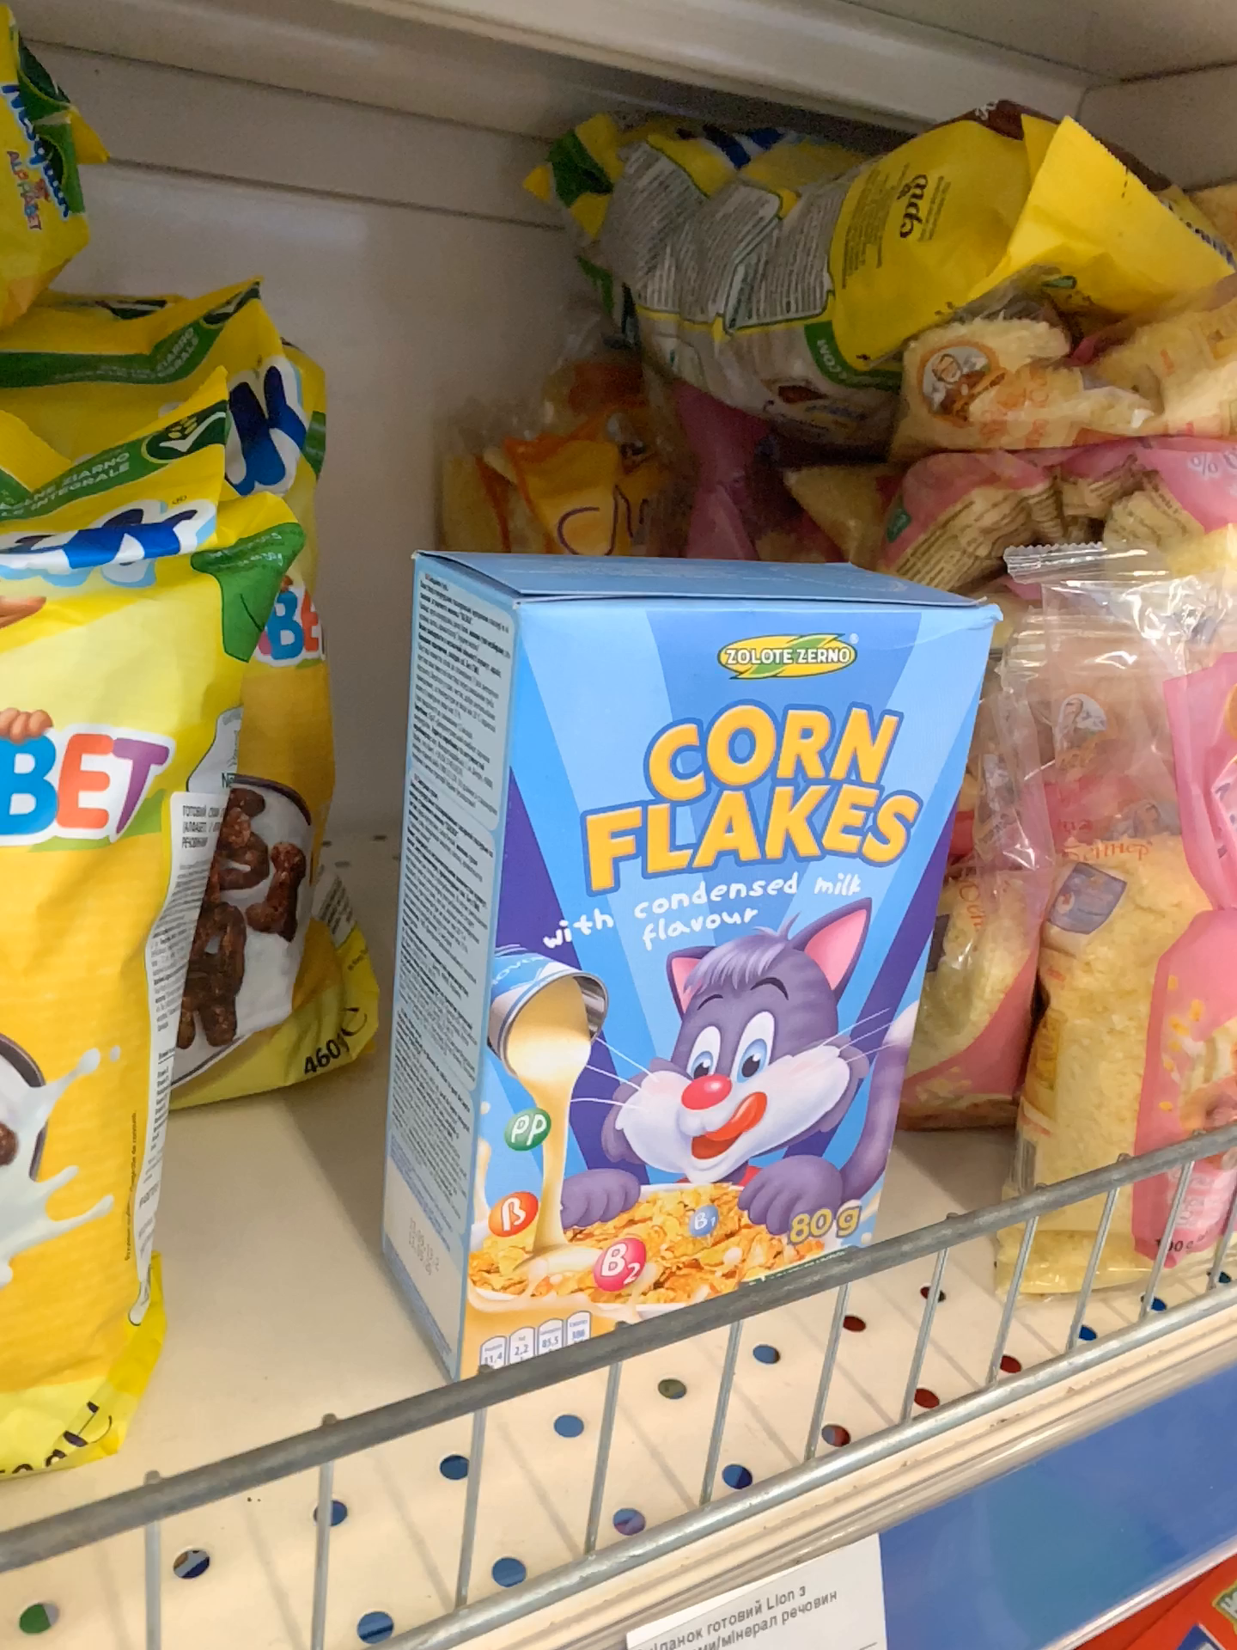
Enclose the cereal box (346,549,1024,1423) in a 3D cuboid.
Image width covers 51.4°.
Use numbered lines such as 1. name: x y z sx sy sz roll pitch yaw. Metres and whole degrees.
1. cereal box: 0.010 0.026 0.273 0.120 0.159 0.050 -6 21 -30
